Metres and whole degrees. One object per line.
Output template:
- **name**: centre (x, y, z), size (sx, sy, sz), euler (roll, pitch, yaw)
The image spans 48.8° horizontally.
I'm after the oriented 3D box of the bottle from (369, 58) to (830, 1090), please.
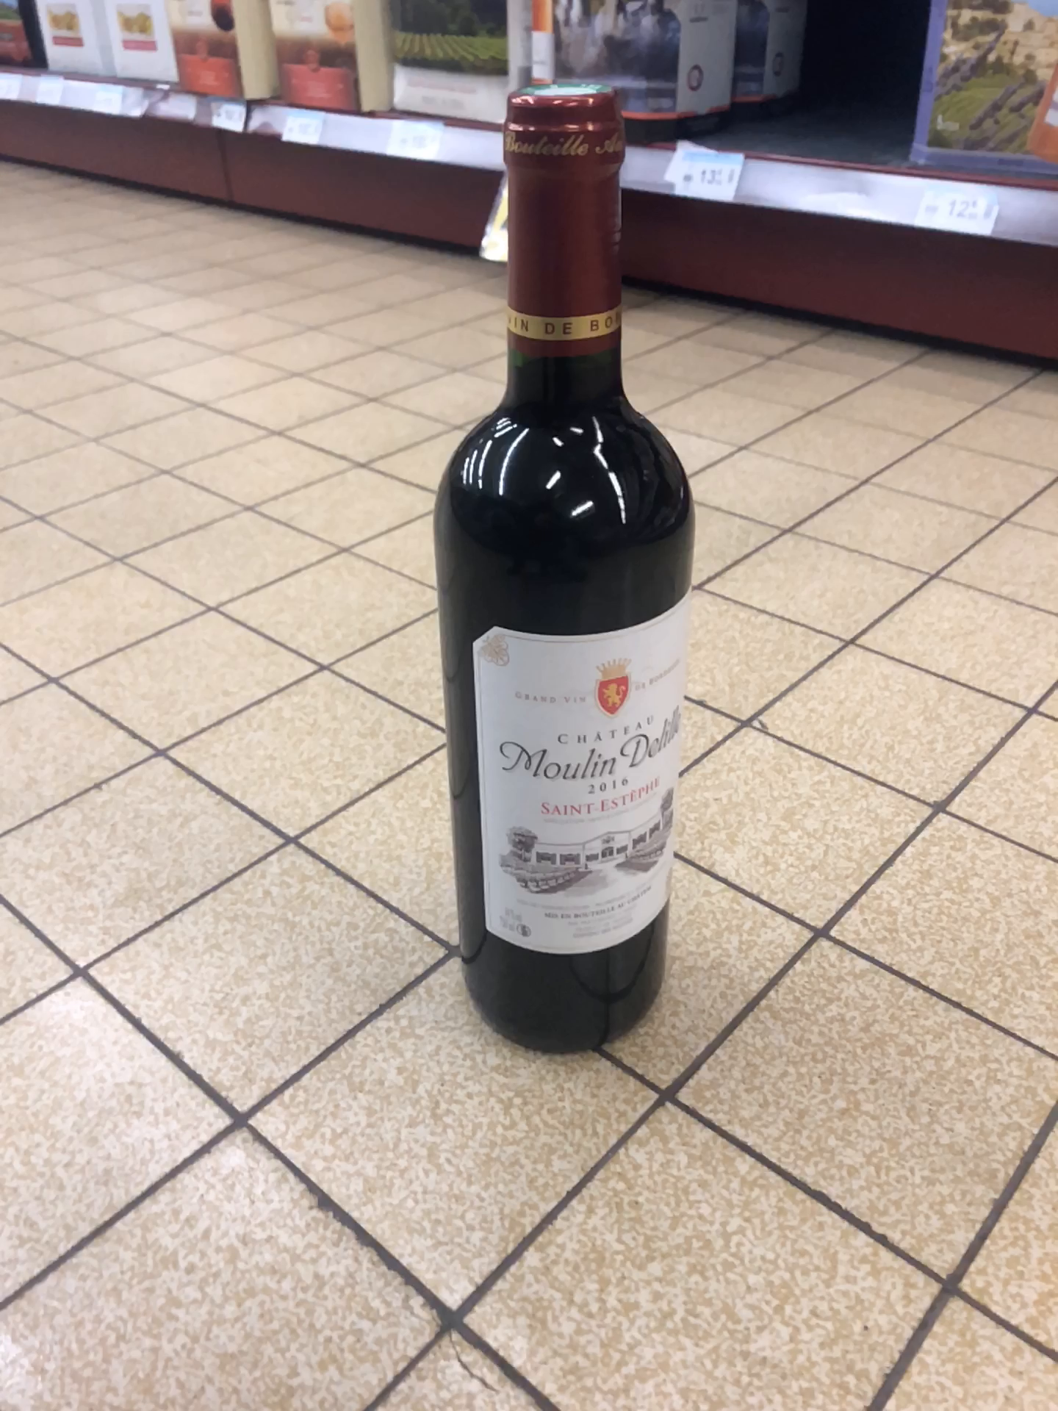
- **bottle**: centre (0.014, -0.023, 0.339), size (0.080, 0.281, 0.080), euler (-1, 33, 1)
